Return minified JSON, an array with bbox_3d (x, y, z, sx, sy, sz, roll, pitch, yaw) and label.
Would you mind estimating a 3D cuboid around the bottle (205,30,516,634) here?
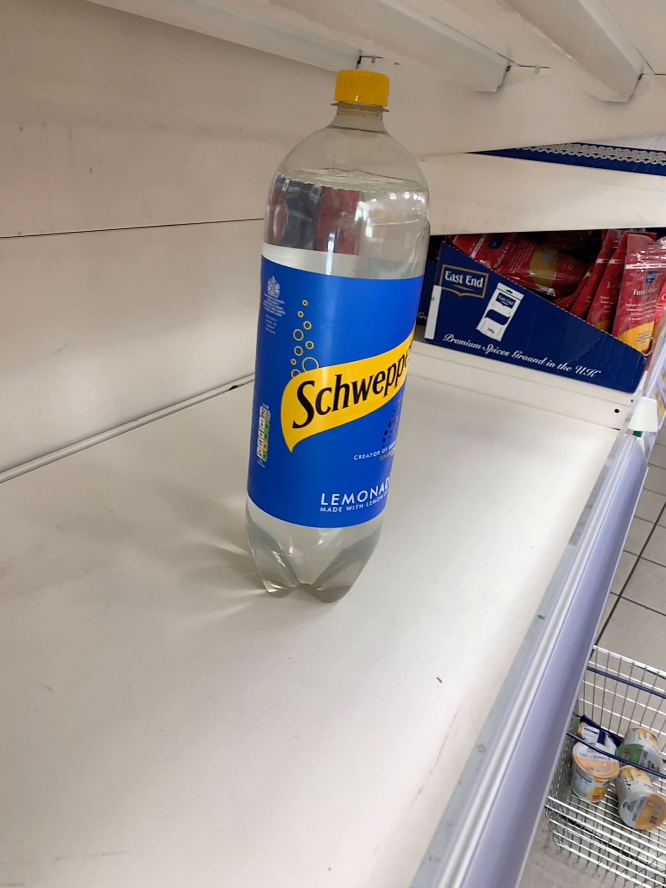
[{"bbox_3d":[0.000,-0.060,0.431,0.110,0.327,0.111,6,23,-3],"label":"bottle"}]
